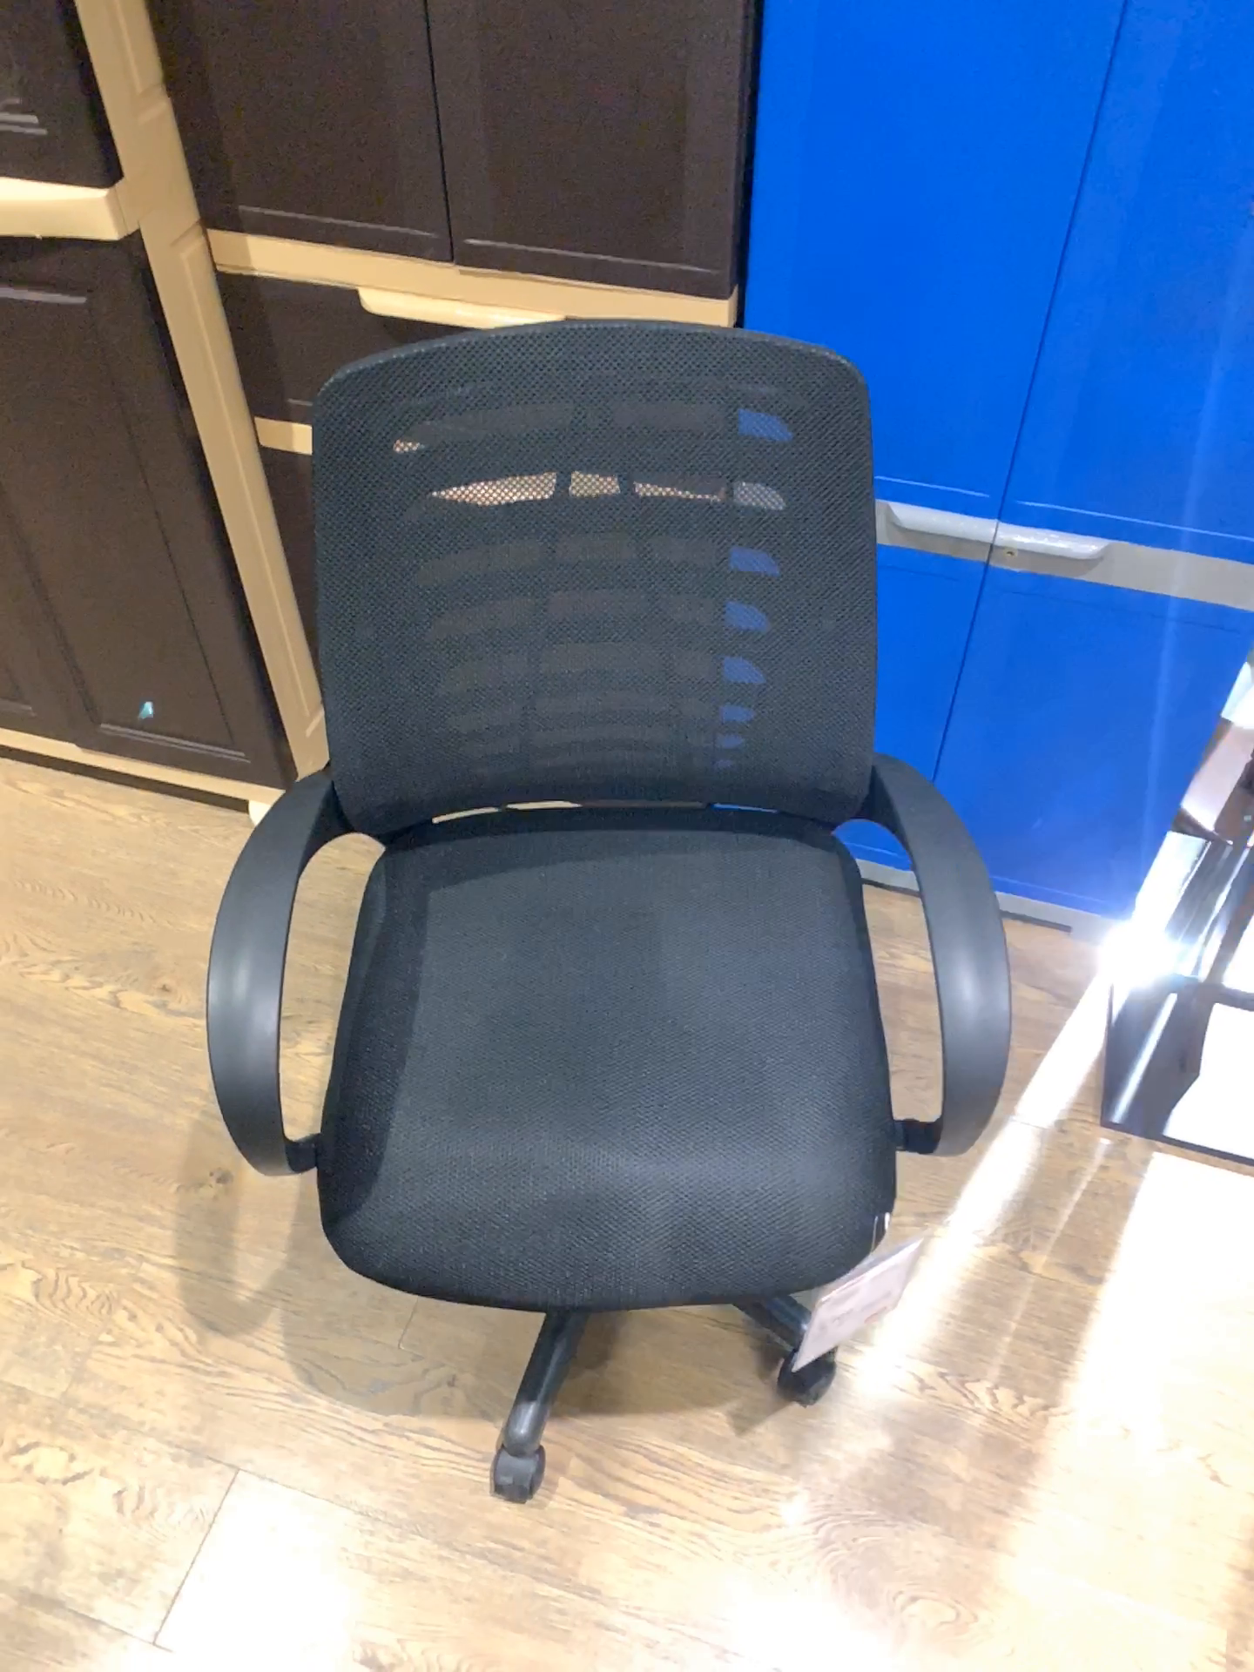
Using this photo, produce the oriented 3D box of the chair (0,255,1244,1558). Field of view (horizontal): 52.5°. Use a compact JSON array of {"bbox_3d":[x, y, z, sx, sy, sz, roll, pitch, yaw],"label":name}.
[{"bbox_3d":[-0.050,0.147,1.073,0.600,0.997,0.602,0,48,1],"label":"chair"}]
